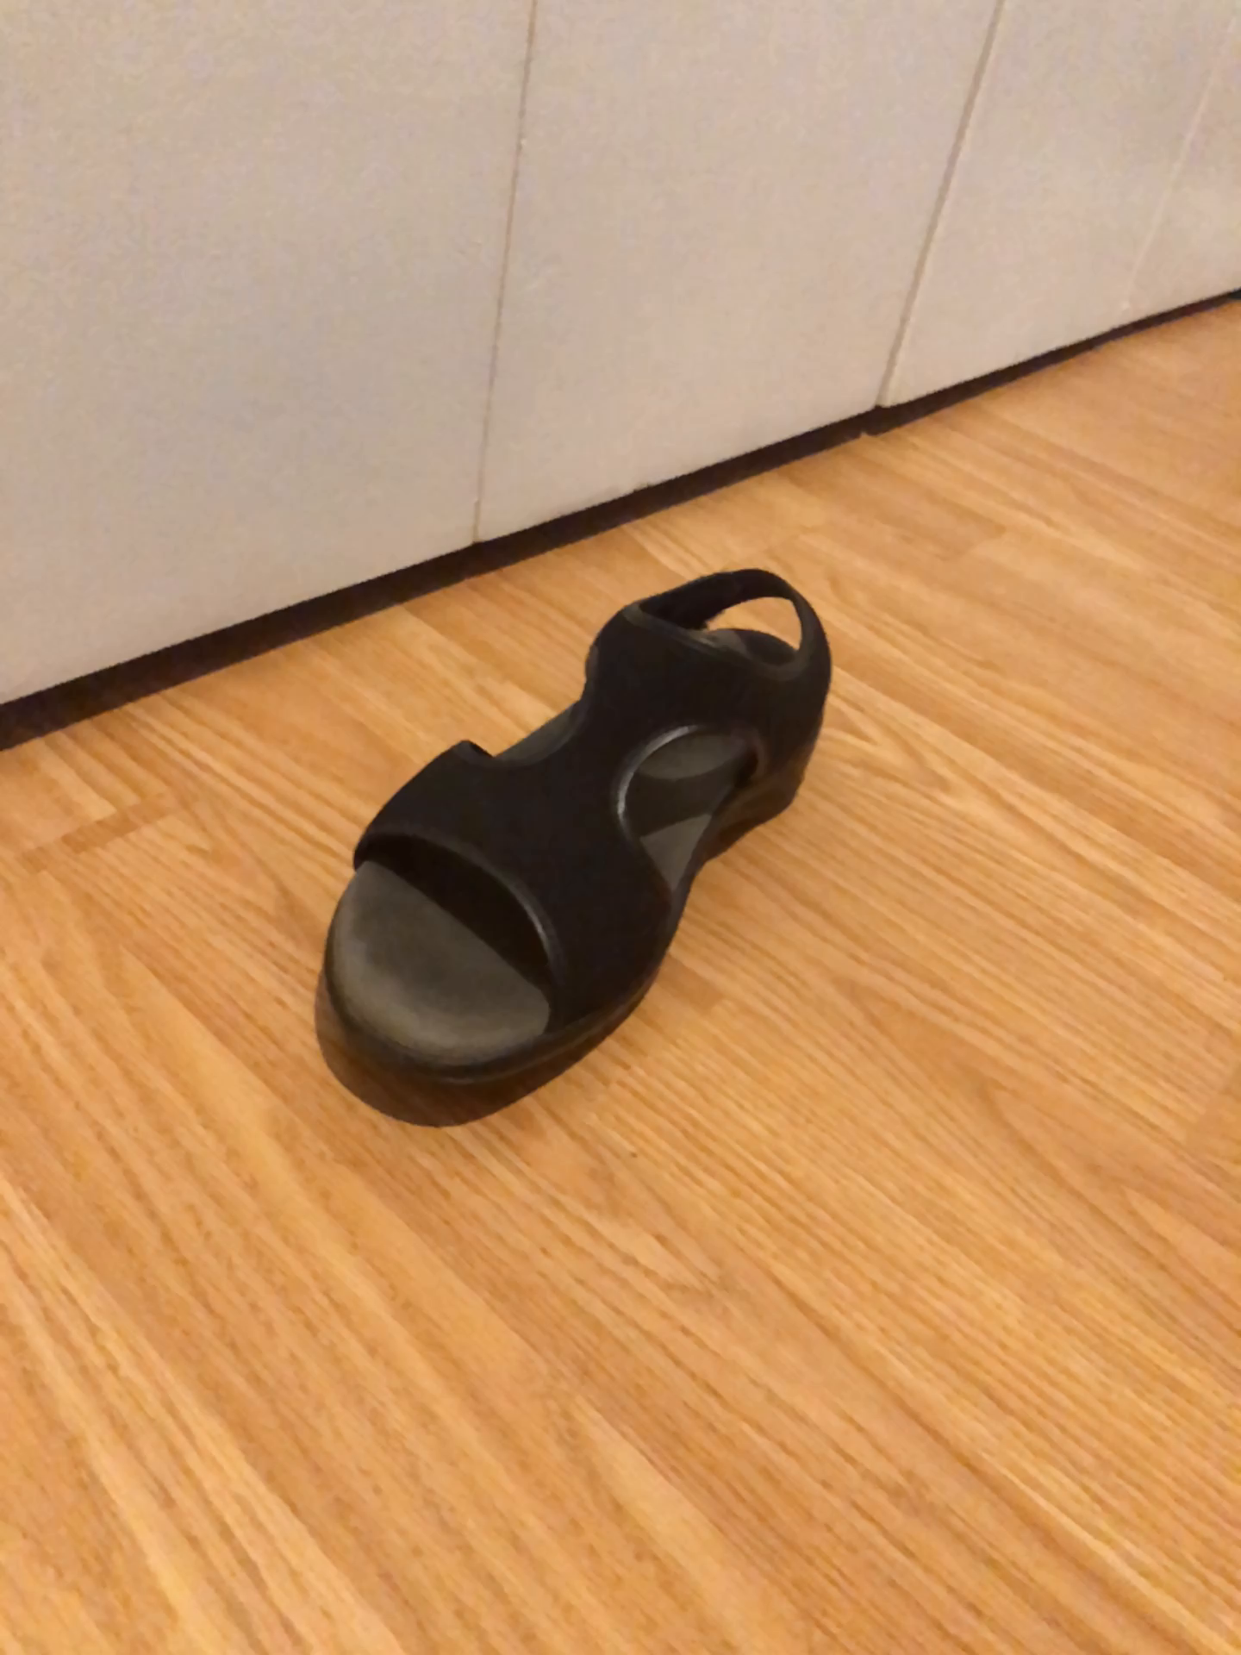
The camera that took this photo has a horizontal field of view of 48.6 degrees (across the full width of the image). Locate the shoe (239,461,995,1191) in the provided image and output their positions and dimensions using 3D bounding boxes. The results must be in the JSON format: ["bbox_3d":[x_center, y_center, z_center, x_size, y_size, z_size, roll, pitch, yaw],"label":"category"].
[{"bbox_3d":[0.010,-0.021,0.436,0.100,0.100,0.251,30,41,21],"label":"shoe"}]
